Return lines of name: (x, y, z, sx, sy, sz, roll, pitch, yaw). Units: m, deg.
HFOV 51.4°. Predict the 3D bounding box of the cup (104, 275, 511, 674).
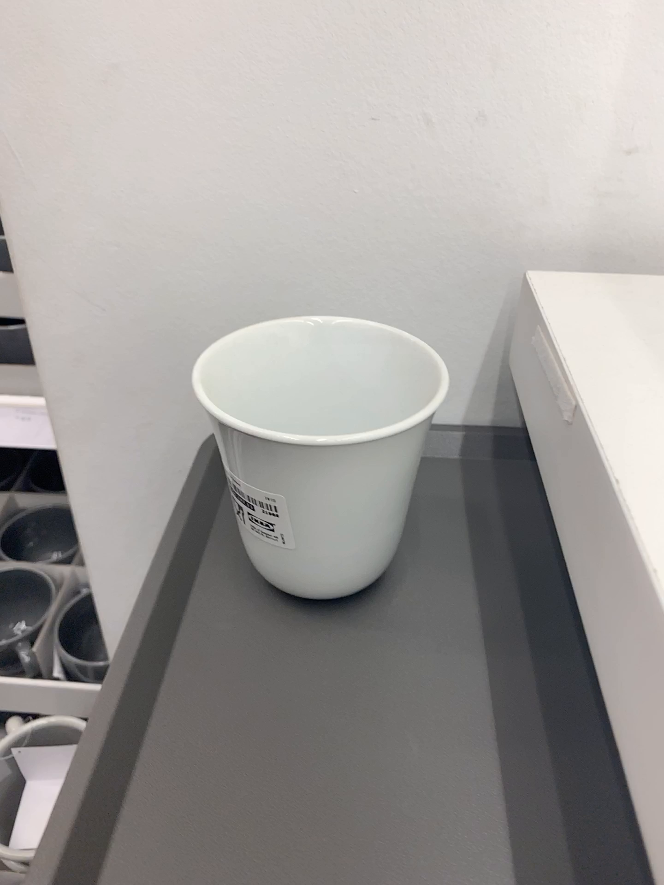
cup: (-0.011, 0.003, 0.305, 0.130, 0.100, 0.100, 25, 41, 31)
